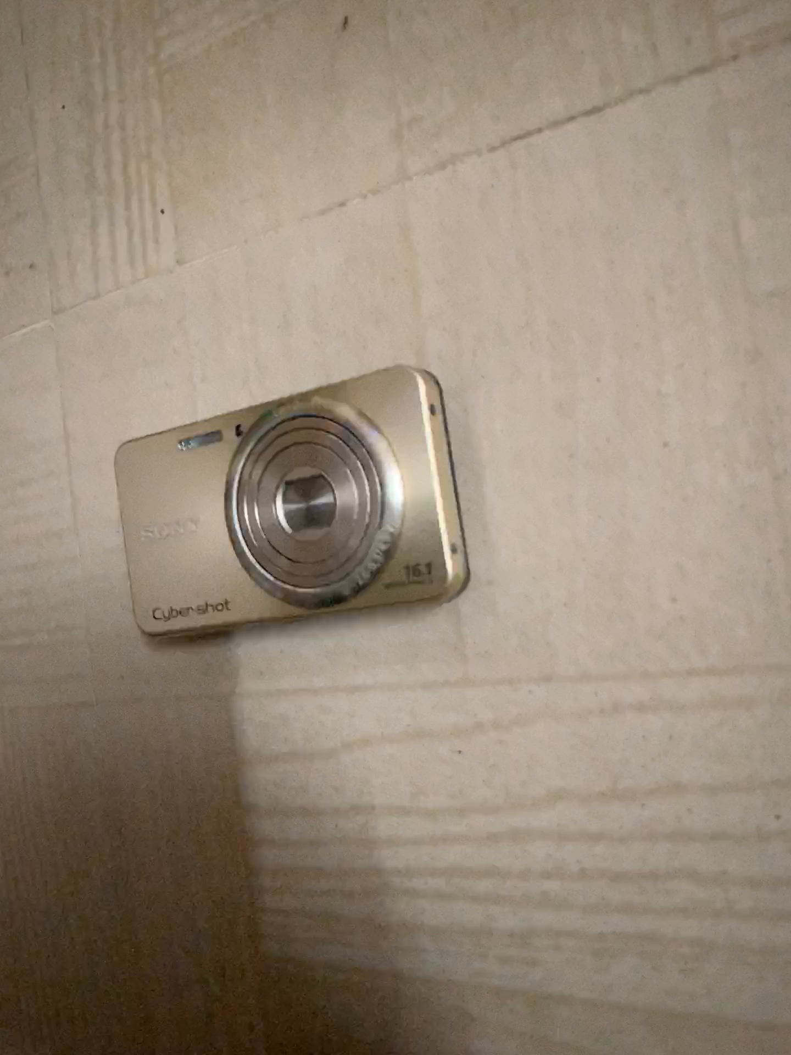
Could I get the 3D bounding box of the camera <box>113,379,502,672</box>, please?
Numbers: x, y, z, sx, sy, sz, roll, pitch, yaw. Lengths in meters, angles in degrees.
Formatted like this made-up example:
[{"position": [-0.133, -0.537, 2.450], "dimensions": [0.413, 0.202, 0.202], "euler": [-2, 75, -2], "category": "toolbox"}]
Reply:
[{"position": [-0.026, 0.003, 0.207], "dimensions": [0.097, 0.019, 0.057], "euler": [-10, 86, 27], "category": "camera"}]
